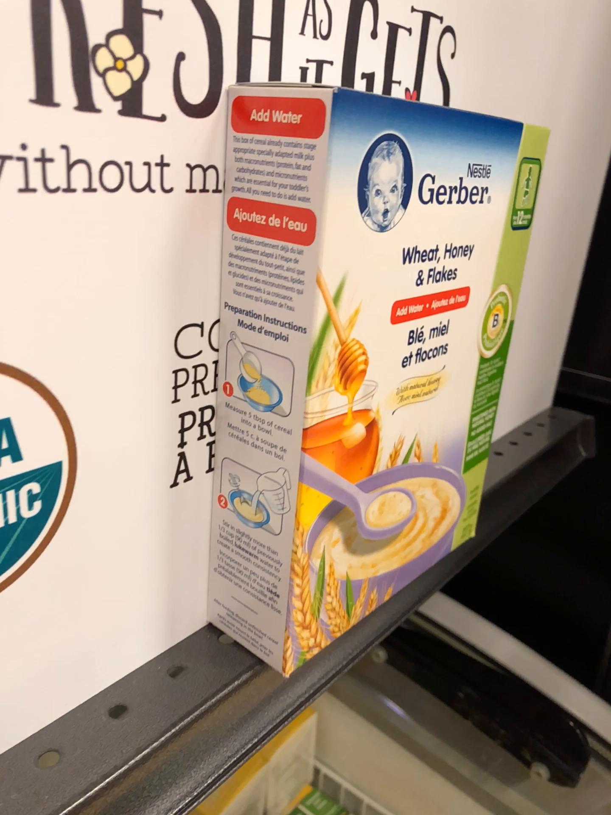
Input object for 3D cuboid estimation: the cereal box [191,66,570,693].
[{"bbox_3d":[0.031,-0.016,0.275,0.050,0.199,0.150,22,26,35],"label":"cereal box"}]
